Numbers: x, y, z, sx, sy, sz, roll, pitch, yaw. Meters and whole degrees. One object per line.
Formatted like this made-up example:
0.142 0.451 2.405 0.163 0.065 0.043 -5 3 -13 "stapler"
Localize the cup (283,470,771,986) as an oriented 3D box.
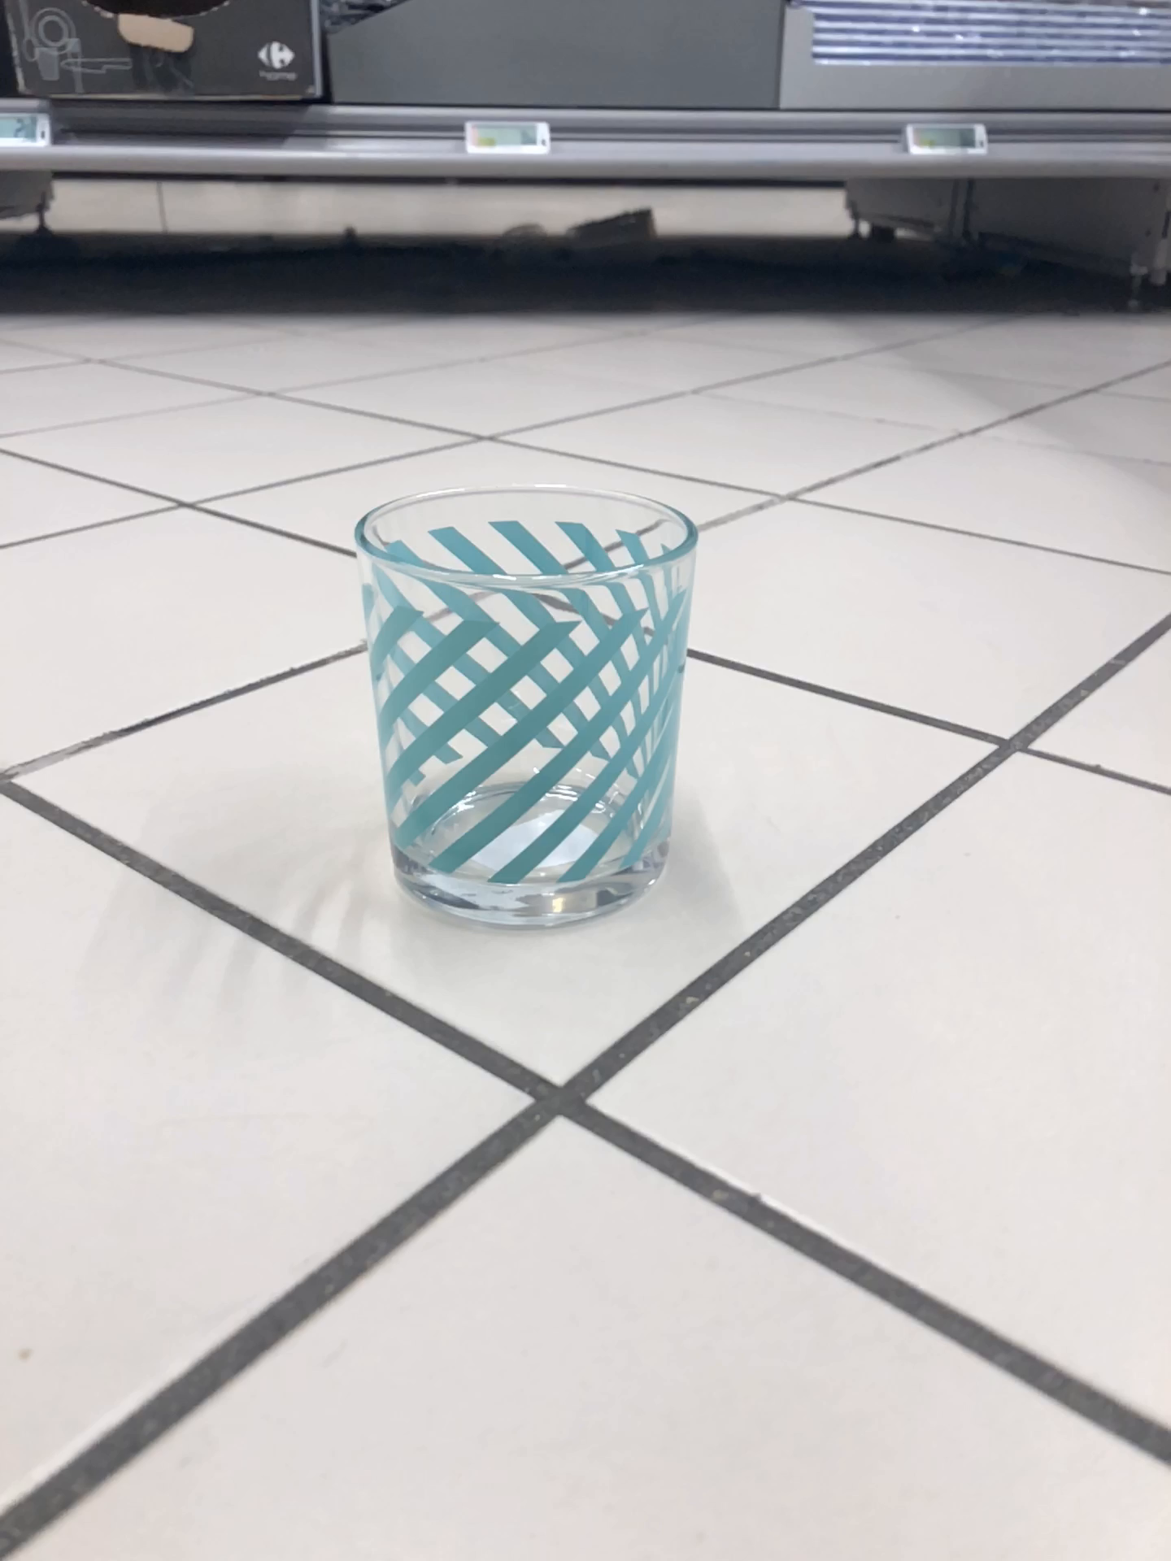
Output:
-0.015 -0.018 0.295 0.076 0.080 0.079 0 27 0 "cup"
